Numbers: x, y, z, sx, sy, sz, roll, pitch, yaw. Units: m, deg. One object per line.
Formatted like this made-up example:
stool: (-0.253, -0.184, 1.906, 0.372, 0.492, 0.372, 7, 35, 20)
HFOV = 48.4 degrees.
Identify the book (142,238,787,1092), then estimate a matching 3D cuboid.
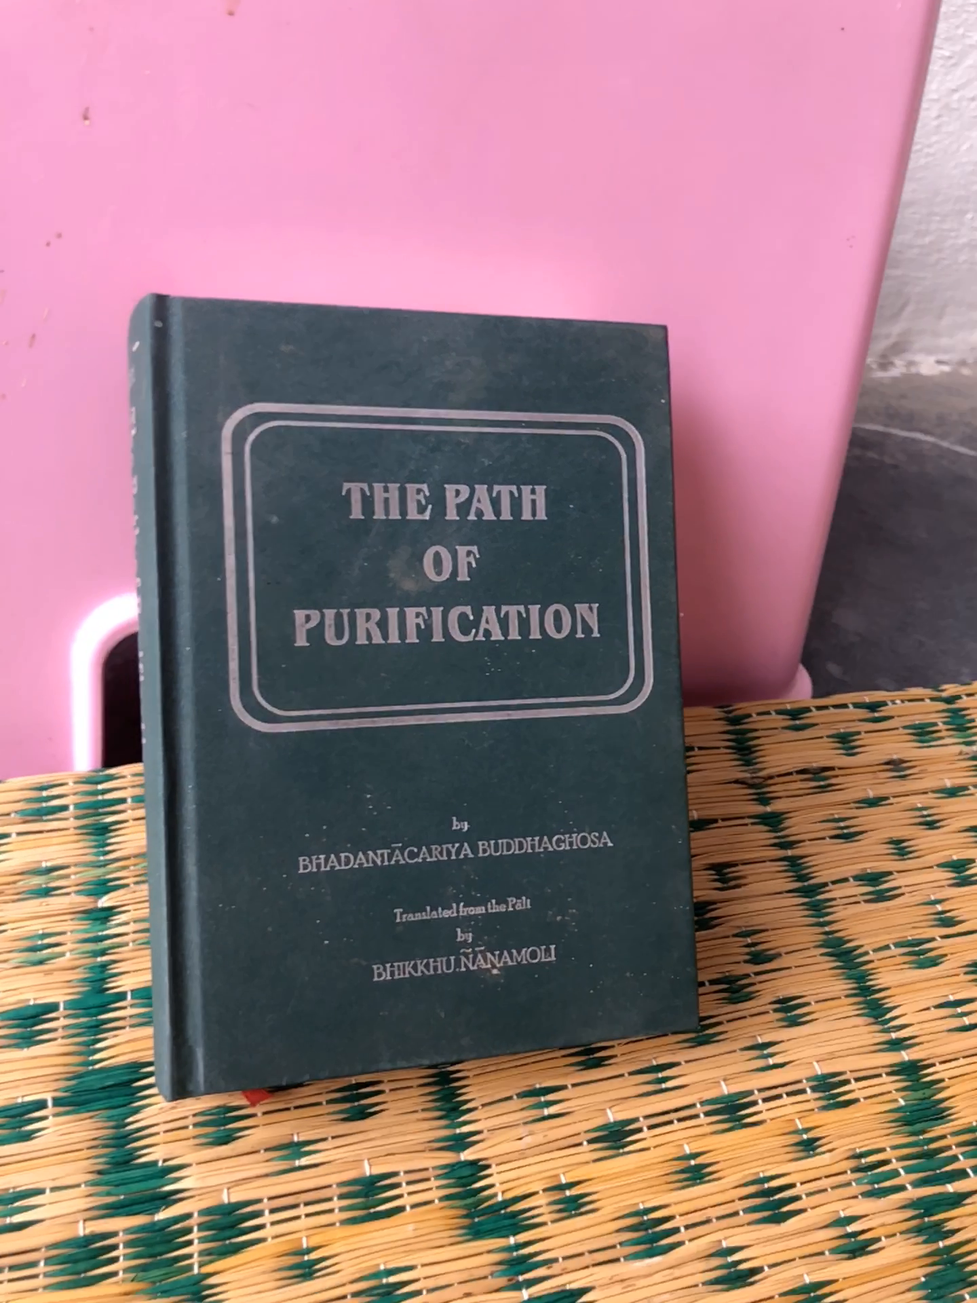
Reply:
book: (-0.014, 0.001, 0.323, 0.160, 0.080, 0.210, -2, 82, -14)
